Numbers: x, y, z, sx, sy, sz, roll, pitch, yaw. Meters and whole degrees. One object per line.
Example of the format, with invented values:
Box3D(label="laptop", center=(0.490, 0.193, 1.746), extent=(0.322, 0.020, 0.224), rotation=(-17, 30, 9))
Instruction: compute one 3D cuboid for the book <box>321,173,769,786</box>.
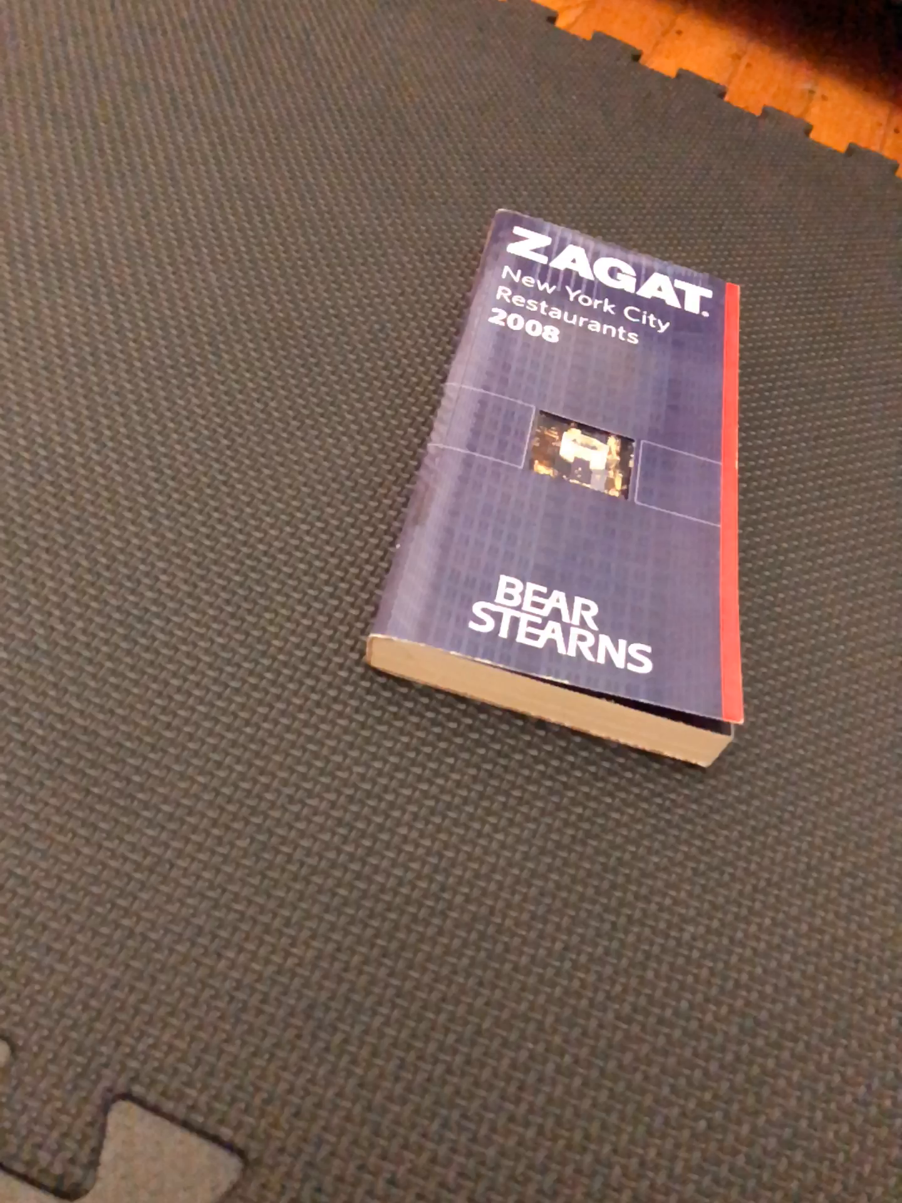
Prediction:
Box3D(label="book", center=(0.044, -0.057, 0.340), extent=(0.120, 0.030, 0.221), rotation=(17, 52, -5))
